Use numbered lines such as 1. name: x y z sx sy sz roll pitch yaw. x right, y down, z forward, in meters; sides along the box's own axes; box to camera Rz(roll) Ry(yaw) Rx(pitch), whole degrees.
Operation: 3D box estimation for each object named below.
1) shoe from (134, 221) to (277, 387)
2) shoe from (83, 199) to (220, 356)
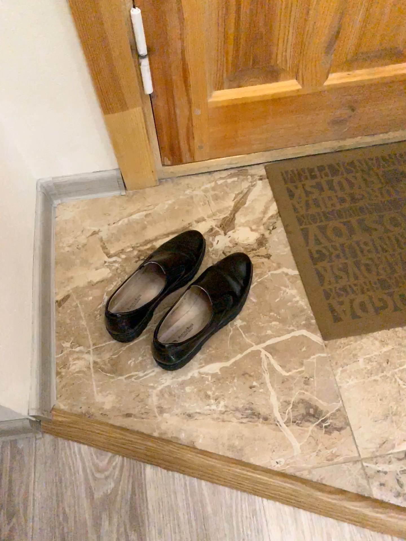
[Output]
1. shoe: 0.012 0.052 0.707 0.090 0.100 0.260 32 67 19
2. shoe: -0.079 0.009 0.748 0.090 0.100 0.260 31 66 18
